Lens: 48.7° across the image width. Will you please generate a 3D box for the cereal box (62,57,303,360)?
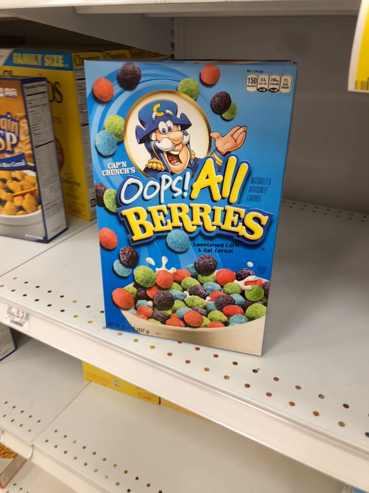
[{"bbox_3d":[0.002,-0.039,0.468,0.220,0.319,0.080,7,28,14],"label":"cereal box"}]
